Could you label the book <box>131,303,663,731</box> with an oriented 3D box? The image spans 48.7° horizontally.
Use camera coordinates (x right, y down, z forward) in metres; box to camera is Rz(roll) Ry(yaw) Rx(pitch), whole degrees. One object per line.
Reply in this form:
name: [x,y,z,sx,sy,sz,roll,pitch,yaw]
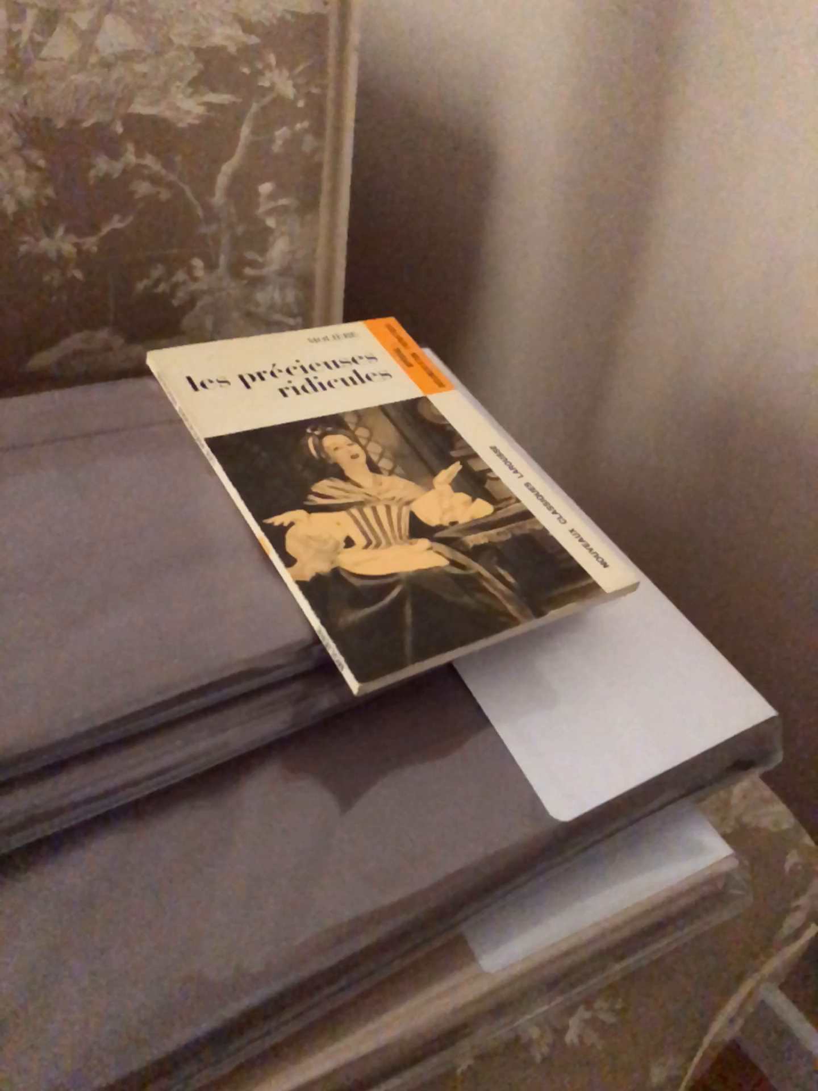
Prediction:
book: [-0.012,-0.028,0.335,0.121,0.020,0.180,-17,51,-28]
